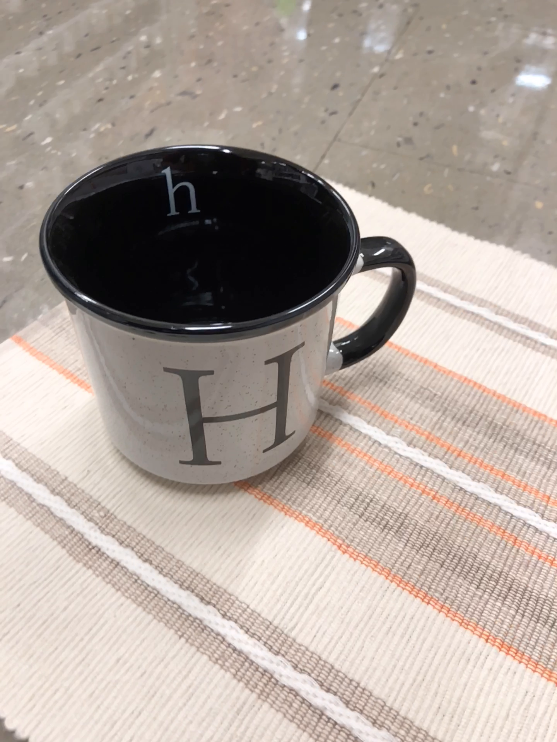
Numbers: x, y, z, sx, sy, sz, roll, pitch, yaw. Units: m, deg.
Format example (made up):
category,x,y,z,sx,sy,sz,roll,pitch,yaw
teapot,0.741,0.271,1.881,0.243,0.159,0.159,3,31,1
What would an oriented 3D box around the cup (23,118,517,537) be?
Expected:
category,x,y,z,sx,sy,sz,roll,pitch,yaw
cup,-0.012,-0.020,0.240,0.140,0.100,0.100,-10,49,-12
